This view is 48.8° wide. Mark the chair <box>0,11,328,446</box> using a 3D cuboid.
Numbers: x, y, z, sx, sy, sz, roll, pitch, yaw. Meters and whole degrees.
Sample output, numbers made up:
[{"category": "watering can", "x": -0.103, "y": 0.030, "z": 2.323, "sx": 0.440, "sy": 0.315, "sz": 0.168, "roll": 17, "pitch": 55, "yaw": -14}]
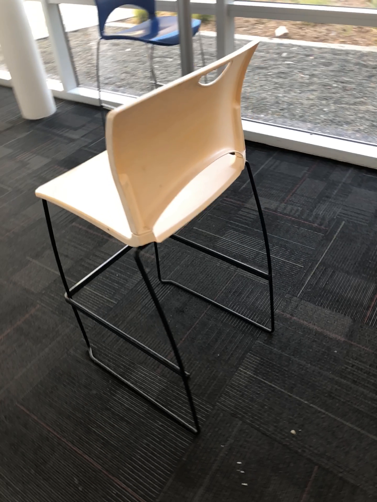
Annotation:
[{"category": "chair", "x": -0.111, "y": -0.085, "z": 1.265, "sx": 0.722, "sy": 0.995, "sz": 0.581, "roll": 23, "pitch": 48, "yaw": 30}]
